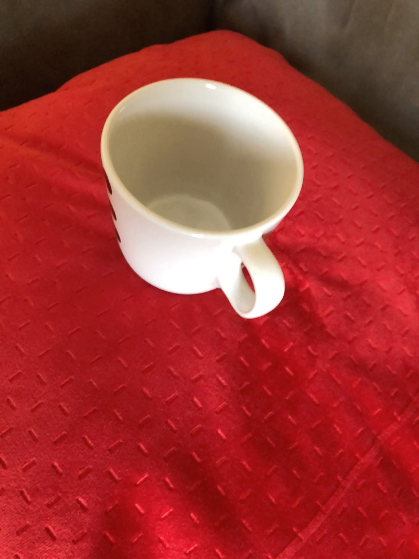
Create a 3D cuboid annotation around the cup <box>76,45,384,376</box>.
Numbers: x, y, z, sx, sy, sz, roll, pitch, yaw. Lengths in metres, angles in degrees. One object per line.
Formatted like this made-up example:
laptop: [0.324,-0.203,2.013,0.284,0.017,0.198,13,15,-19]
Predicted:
cup: [0.000,-0.033,0.221,0.080,0.080,0.110,-22,67,-22]
